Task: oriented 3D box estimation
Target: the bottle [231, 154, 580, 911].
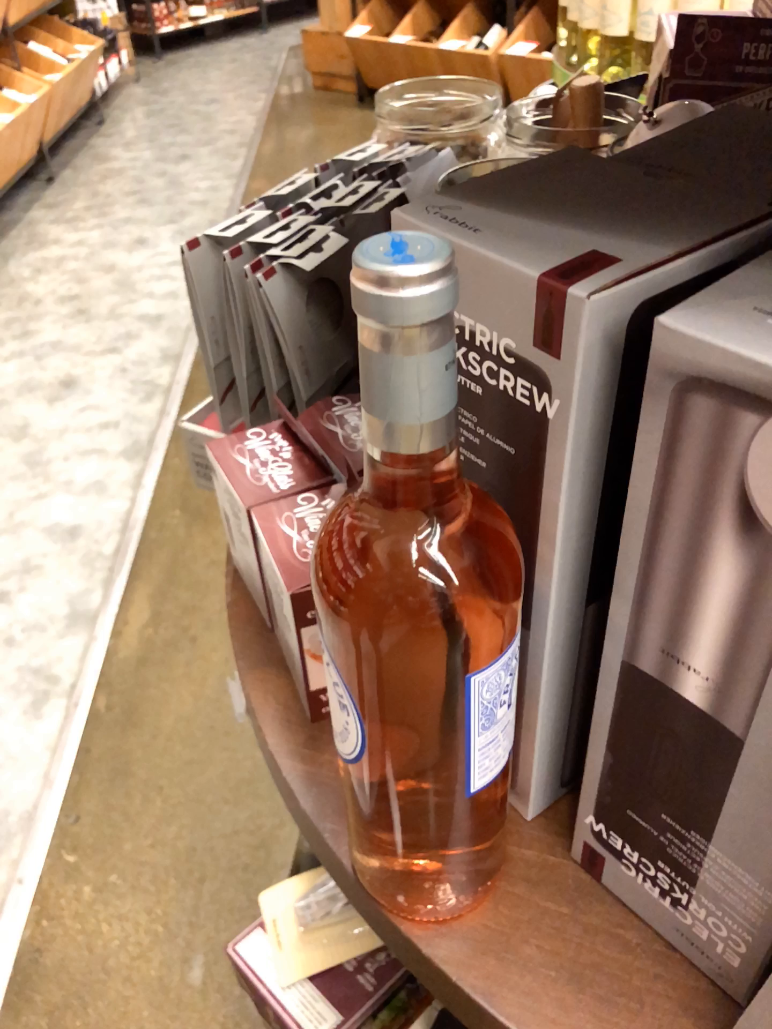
[{"bbox_3d":[0.013,0.033,0.316,0.080,0.289,0.078,-3,38,2],"label":"bottle"}]
